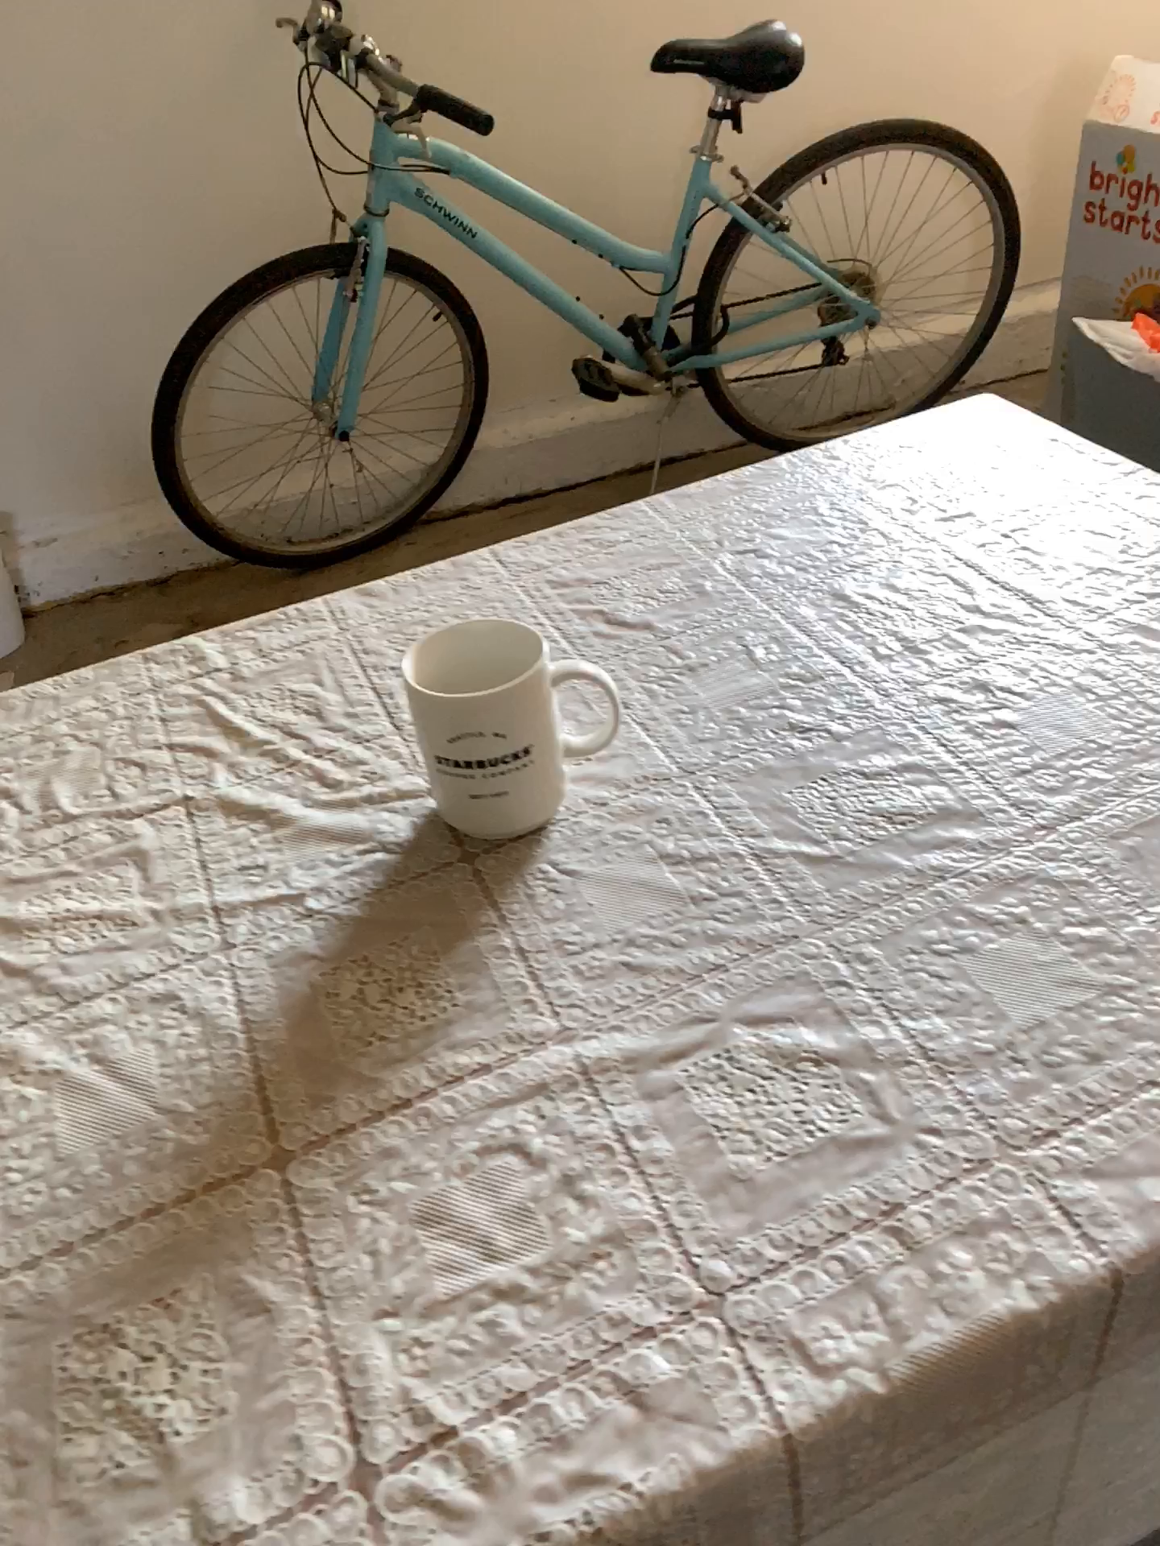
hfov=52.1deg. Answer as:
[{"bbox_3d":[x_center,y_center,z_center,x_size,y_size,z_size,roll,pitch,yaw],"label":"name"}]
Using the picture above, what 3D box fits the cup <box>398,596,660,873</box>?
[{"bbox_3d":[-0.030,-0.023,0.705,0.130,0.109,0.090,-11,39,-2],"label":"cup"}]
